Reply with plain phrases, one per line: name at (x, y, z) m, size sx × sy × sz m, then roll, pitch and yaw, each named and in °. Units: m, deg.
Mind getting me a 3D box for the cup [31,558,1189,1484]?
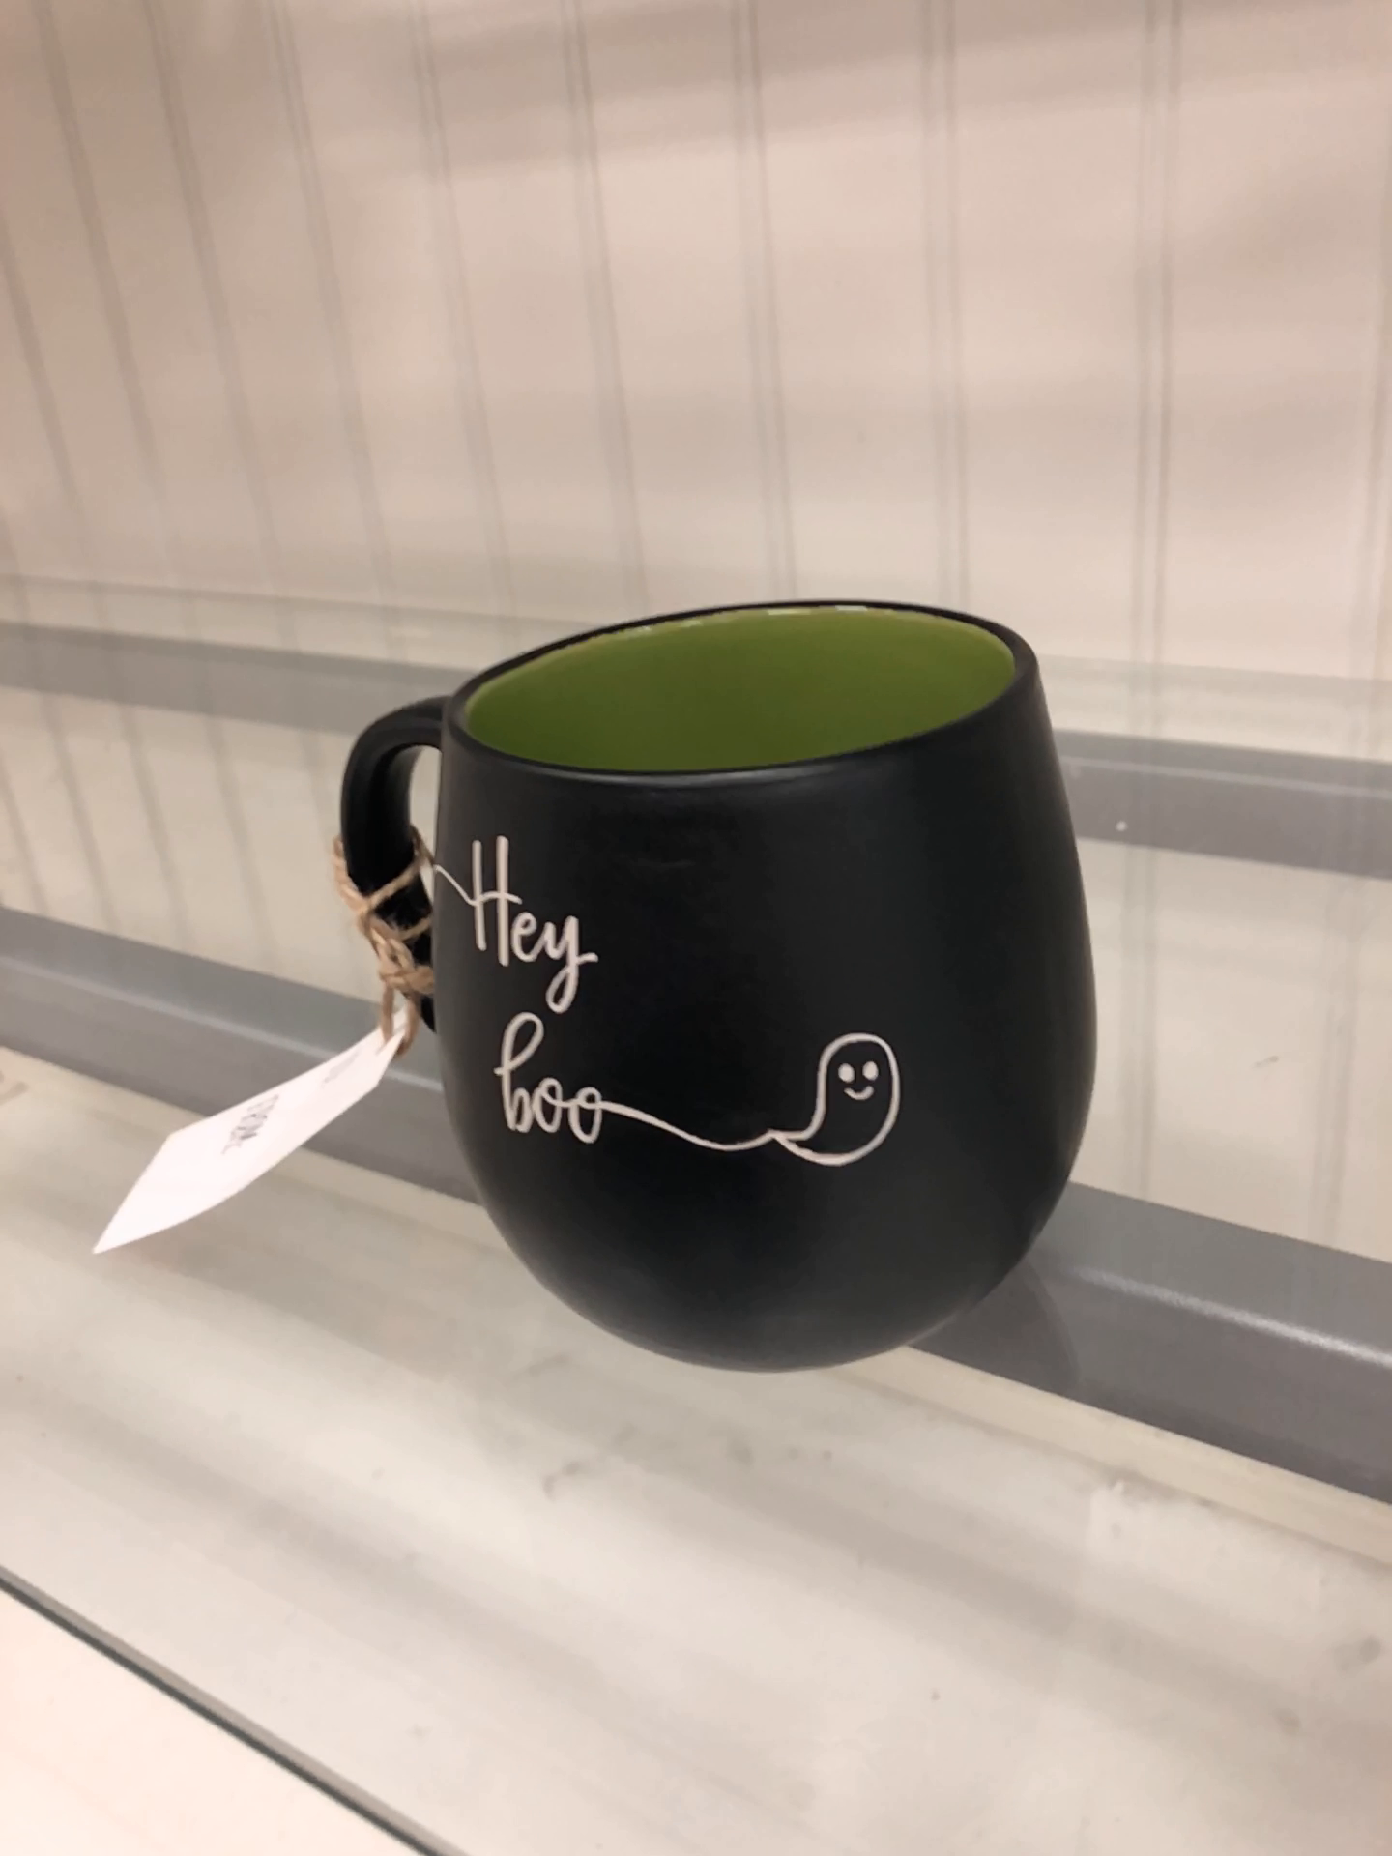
cup at (-0.011, -0.001, 0.250) m, size 0.149 × 0.089 × 0.090 m, roll 11°, pitch 30°, yaw 32°
